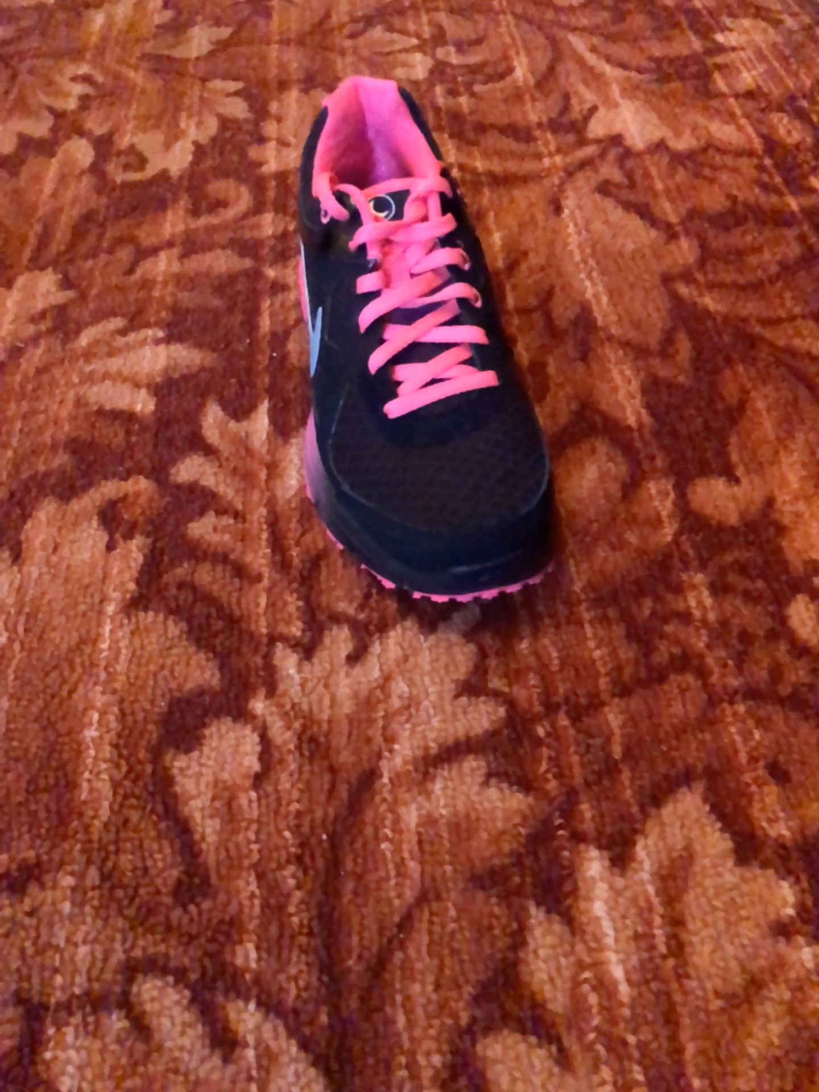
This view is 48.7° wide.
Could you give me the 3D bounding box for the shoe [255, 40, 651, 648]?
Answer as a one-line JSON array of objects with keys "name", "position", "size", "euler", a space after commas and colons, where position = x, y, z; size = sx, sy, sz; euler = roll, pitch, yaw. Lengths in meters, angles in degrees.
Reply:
[{"name": "shoe", "position": [0.002, -0.096, 0.378], "size": [0.100, 0.110, 0.241], "euler": [-8, 53, -6]}]
